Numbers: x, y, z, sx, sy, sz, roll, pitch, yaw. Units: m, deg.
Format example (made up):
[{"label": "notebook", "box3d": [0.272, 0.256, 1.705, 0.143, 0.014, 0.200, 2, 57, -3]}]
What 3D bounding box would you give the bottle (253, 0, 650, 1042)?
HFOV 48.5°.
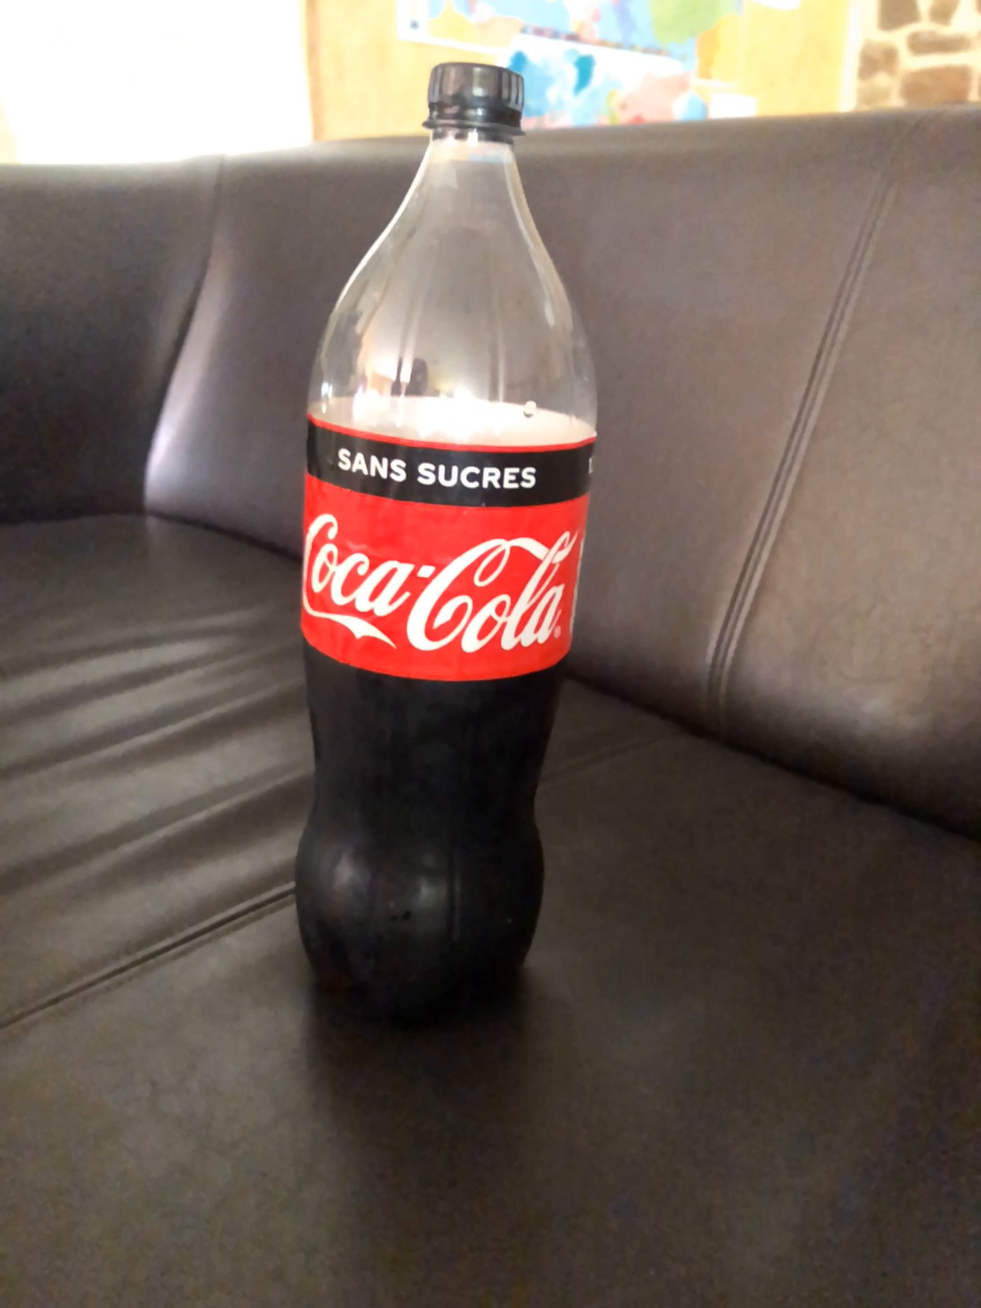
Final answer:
[{"label": "bottle", "box3d": [-0.017, -0.033, 0.377, 0.100, 0.318, 0.101, 3, 21, -1]}]
